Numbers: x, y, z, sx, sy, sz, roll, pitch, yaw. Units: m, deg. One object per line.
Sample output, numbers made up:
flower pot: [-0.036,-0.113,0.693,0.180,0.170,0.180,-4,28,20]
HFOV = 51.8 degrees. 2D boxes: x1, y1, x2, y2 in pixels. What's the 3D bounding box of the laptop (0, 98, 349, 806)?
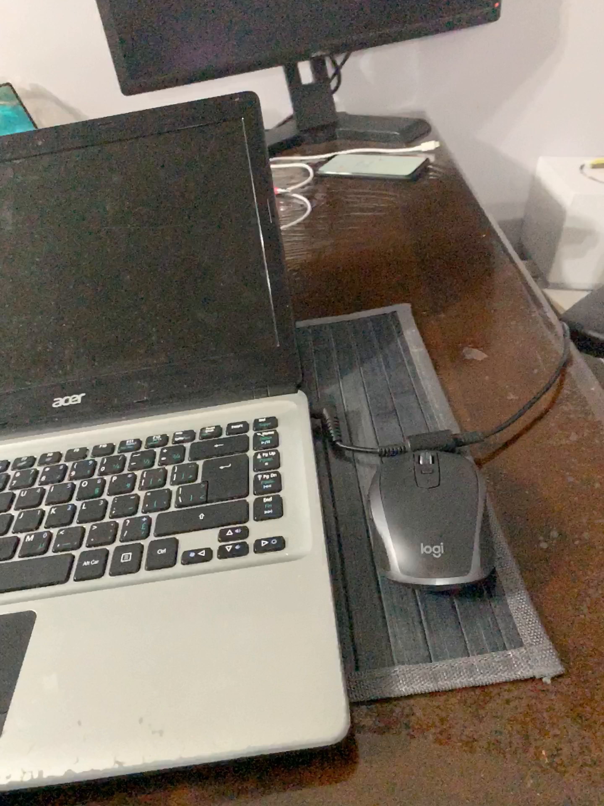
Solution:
laptop: [-0.171,-0.023,0.347,0.330,0.146,0.388,-9,38,1]
